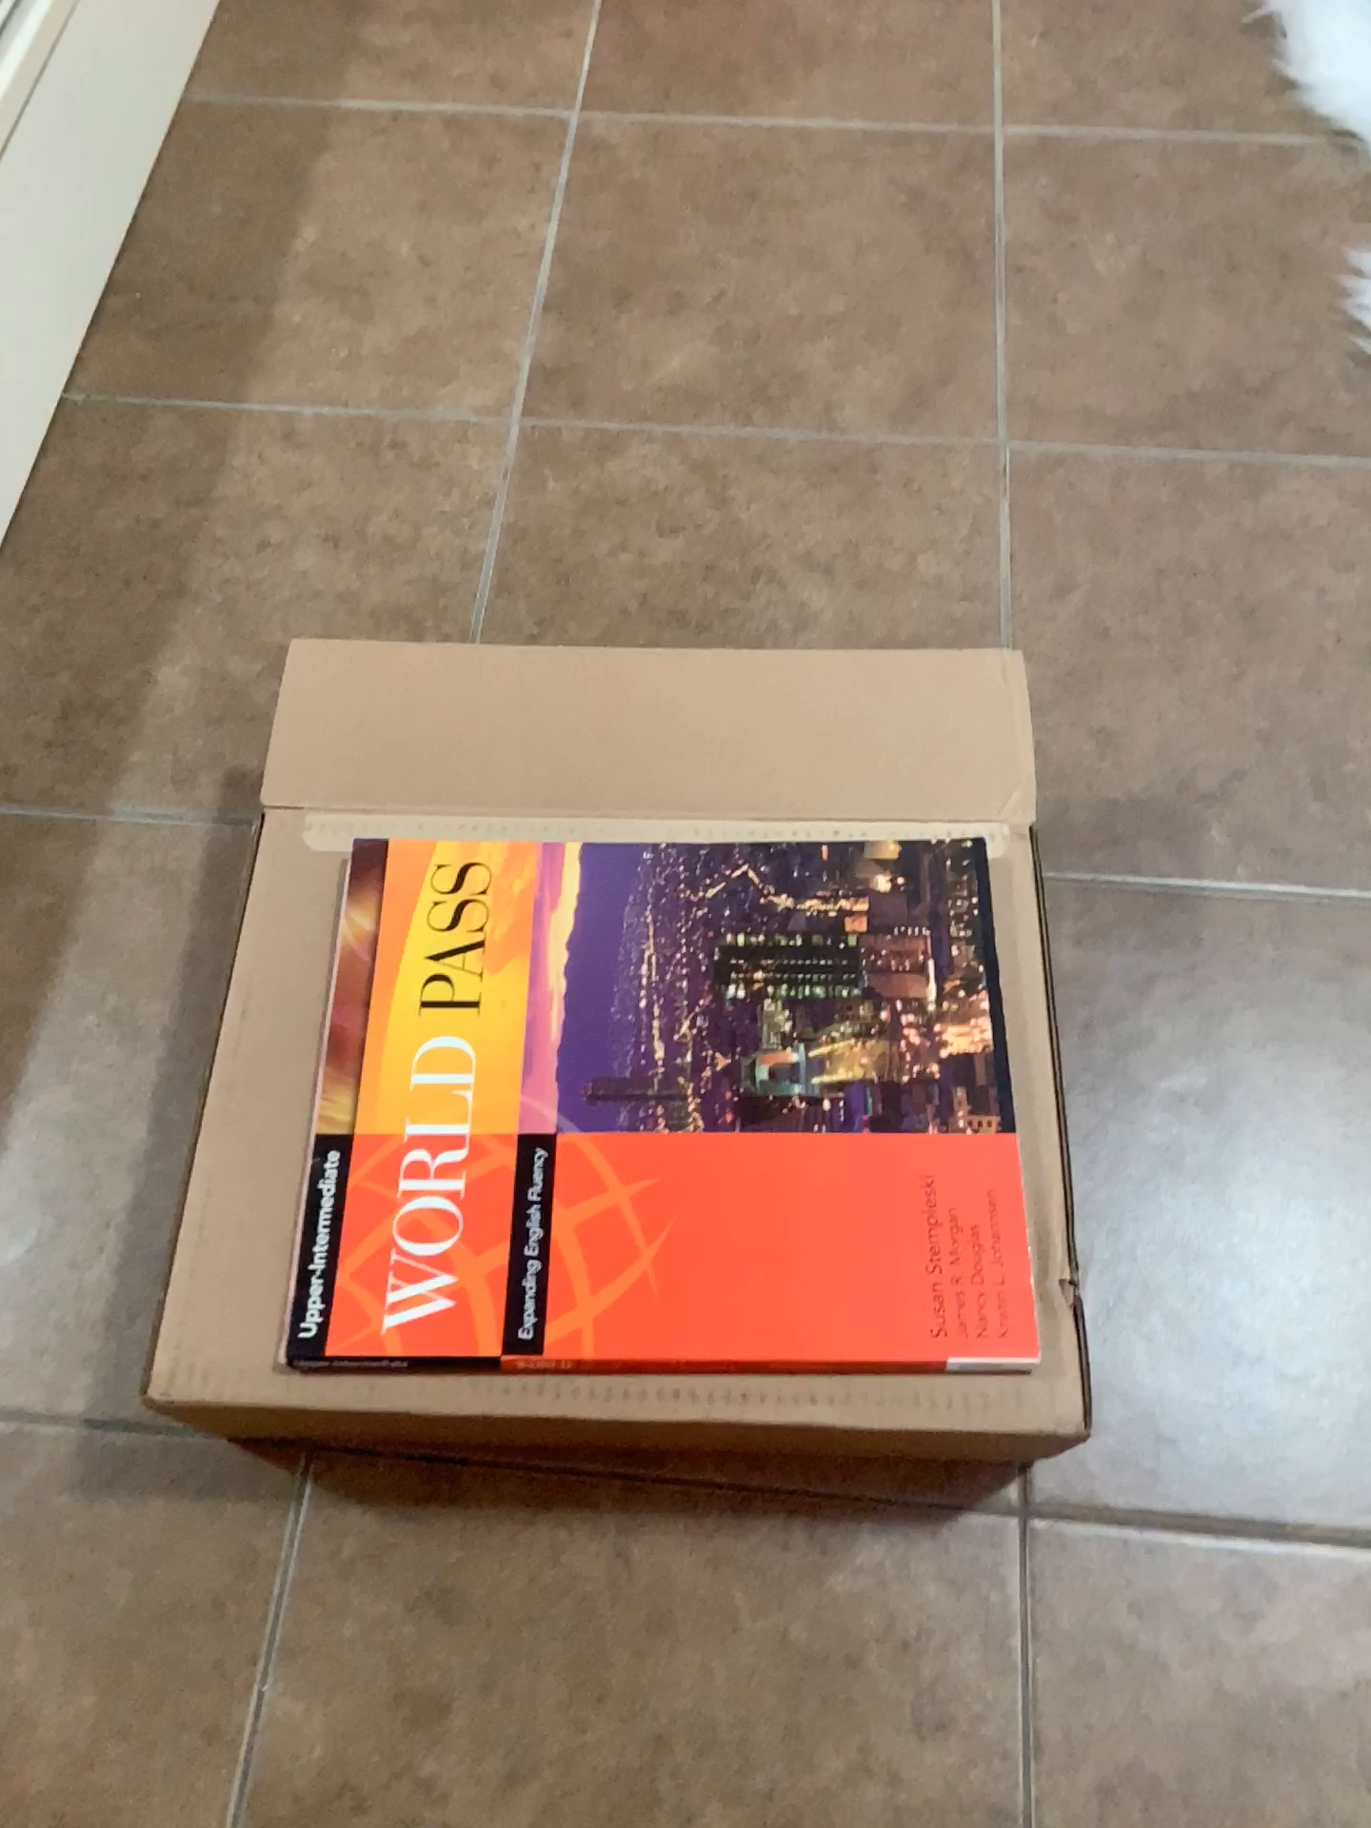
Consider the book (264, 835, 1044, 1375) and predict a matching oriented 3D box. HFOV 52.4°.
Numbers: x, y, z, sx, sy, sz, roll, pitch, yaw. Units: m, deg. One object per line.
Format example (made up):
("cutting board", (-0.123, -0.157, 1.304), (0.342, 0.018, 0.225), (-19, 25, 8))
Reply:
("book", (-0.010, 0.066, 0.538), (0.270, 0.018, 0.211), (0, 63, 1))
